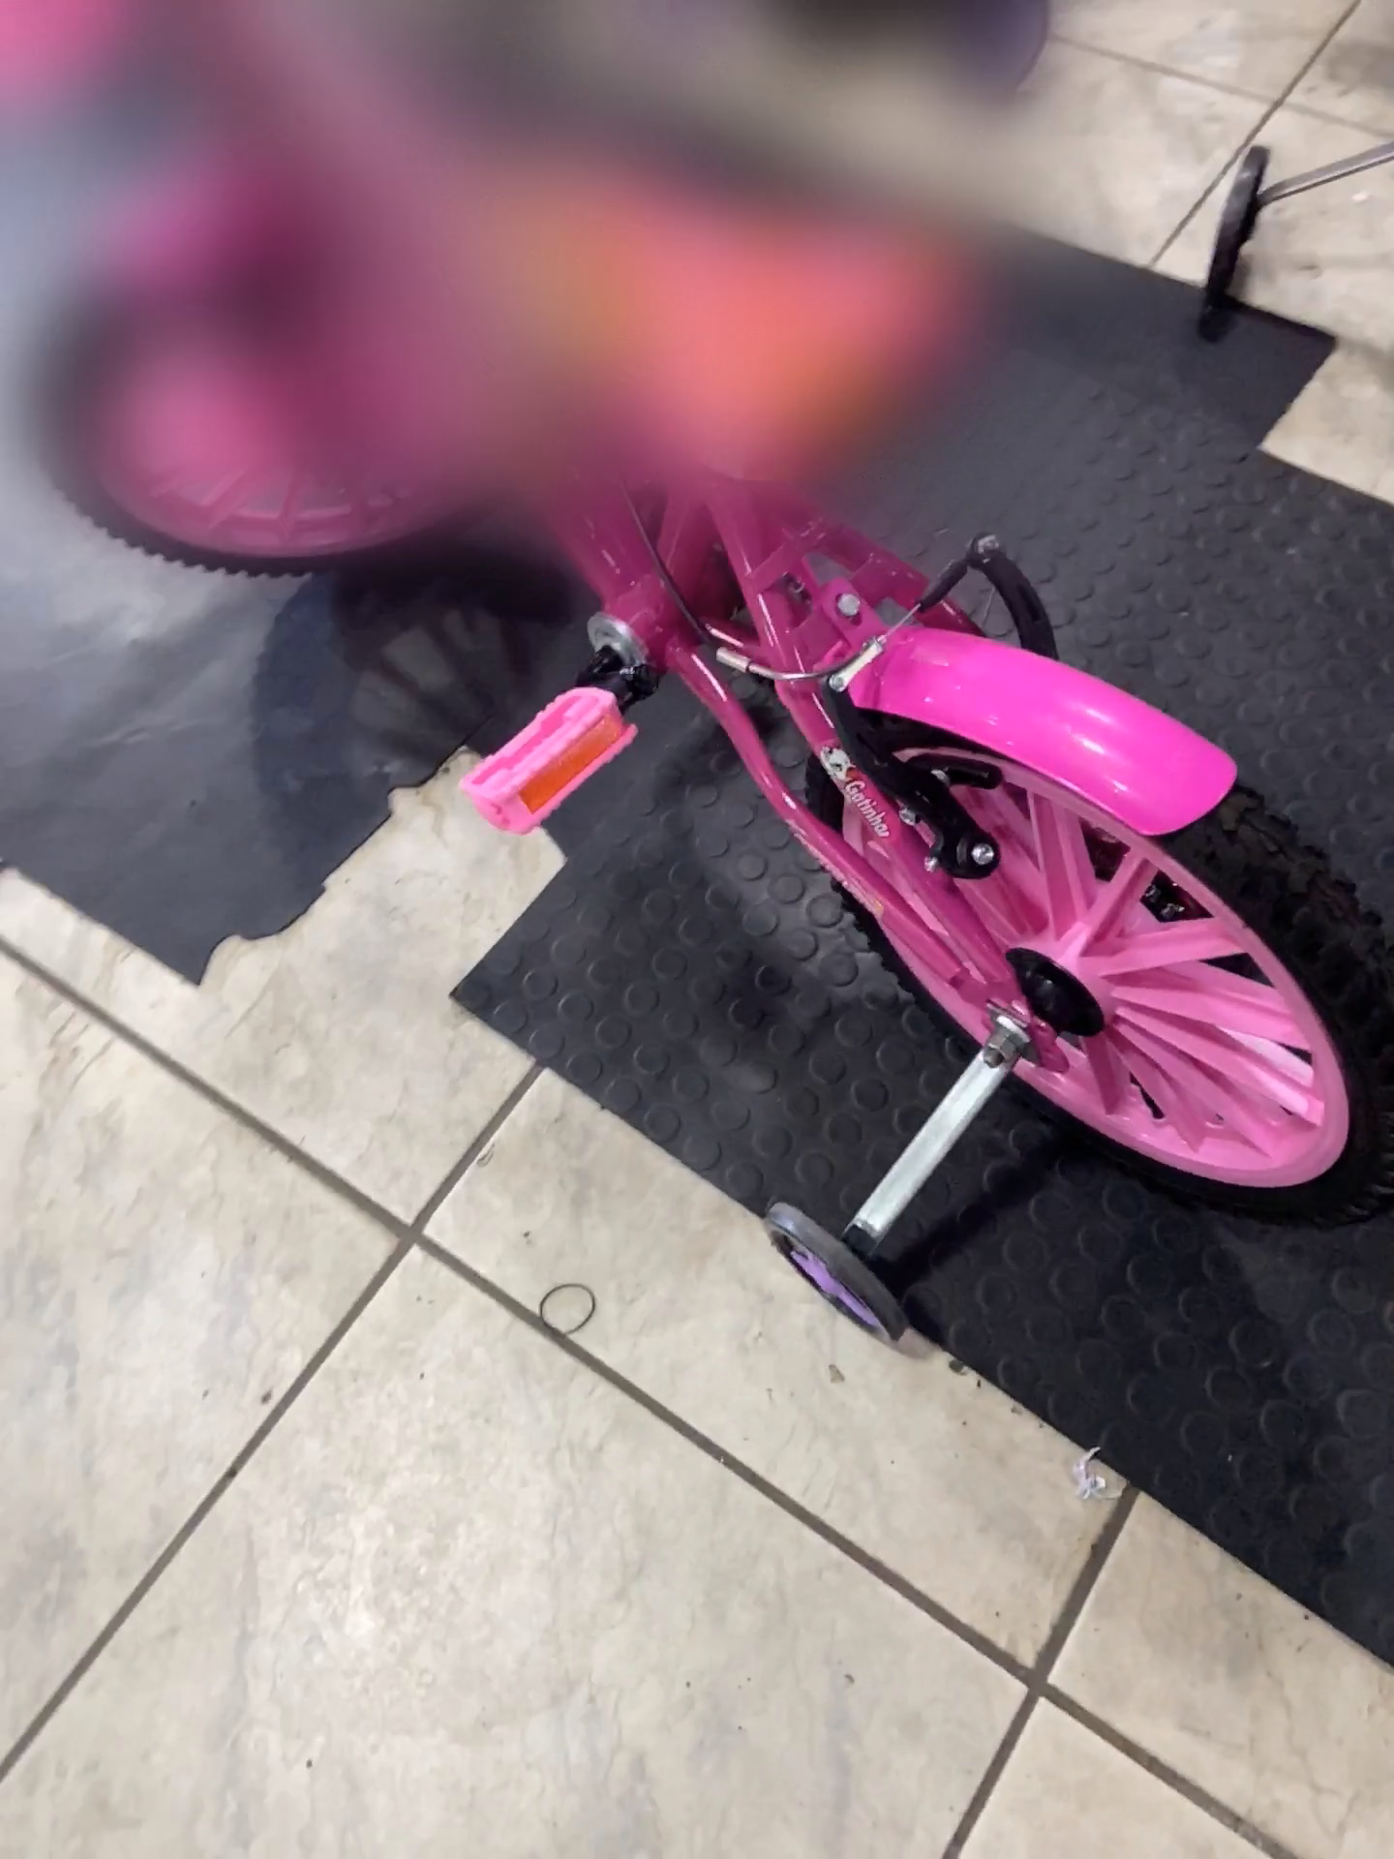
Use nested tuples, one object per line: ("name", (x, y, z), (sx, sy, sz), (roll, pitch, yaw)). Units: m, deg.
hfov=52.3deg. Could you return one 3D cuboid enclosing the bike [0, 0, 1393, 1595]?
("bike", (-0.073, -0.192, 0.672), (0.939, 0.790, 0.467), (30, 68, 21))
